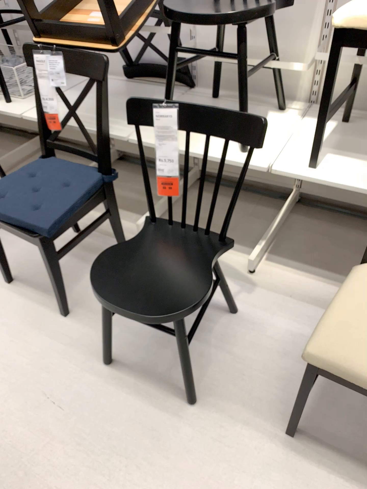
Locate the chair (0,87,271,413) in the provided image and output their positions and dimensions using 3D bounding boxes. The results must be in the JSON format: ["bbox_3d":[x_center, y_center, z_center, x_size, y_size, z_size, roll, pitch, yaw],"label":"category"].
[{"bbox_3d":[-0.073,0.019,1.194,0.471,0.787,0.521,17,46,21],"label":"chair"}]
